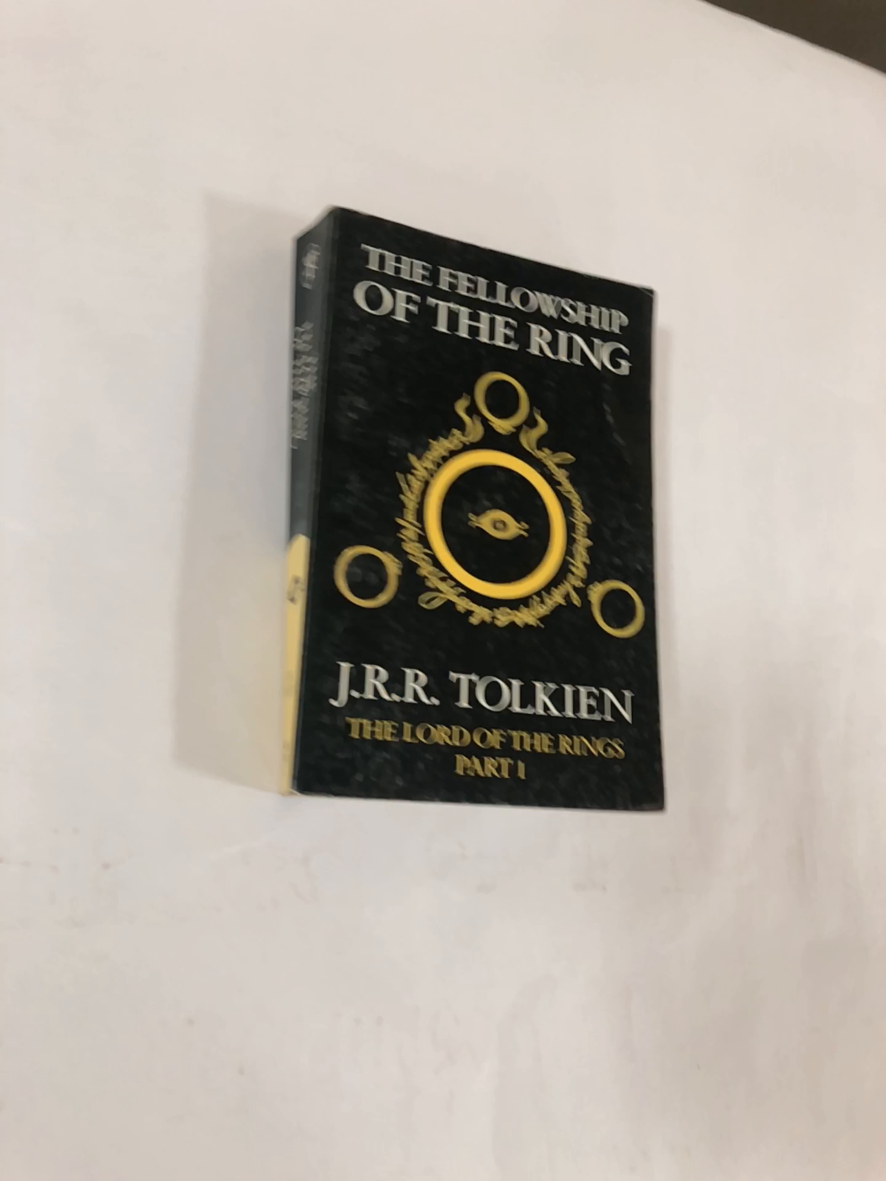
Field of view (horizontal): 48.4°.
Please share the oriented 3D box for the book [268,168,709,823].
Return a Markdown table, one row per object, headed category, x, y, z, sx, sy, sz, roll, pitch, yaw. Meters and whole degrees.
| category | x | y | z | sx | sy | sz | roll | pitch | yaw |
| --- | --- | --- | --- | --- | --- | --- | --- | --- | --- |
| book | 0.021 | -0.028 | 0.342 | 0.130 | 0.050 | 0.200 | 10 | 74 | -17 |
